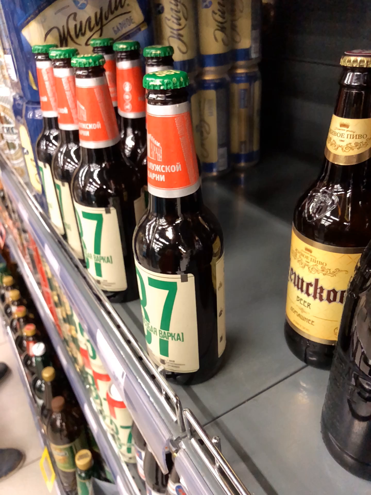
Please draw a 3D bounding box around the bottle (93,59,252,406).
[{"bbox_3d":[-0.005,-0.004,0.299,0.070,0.229,0.080,-14,33,-16],"label":"bottle"}]
